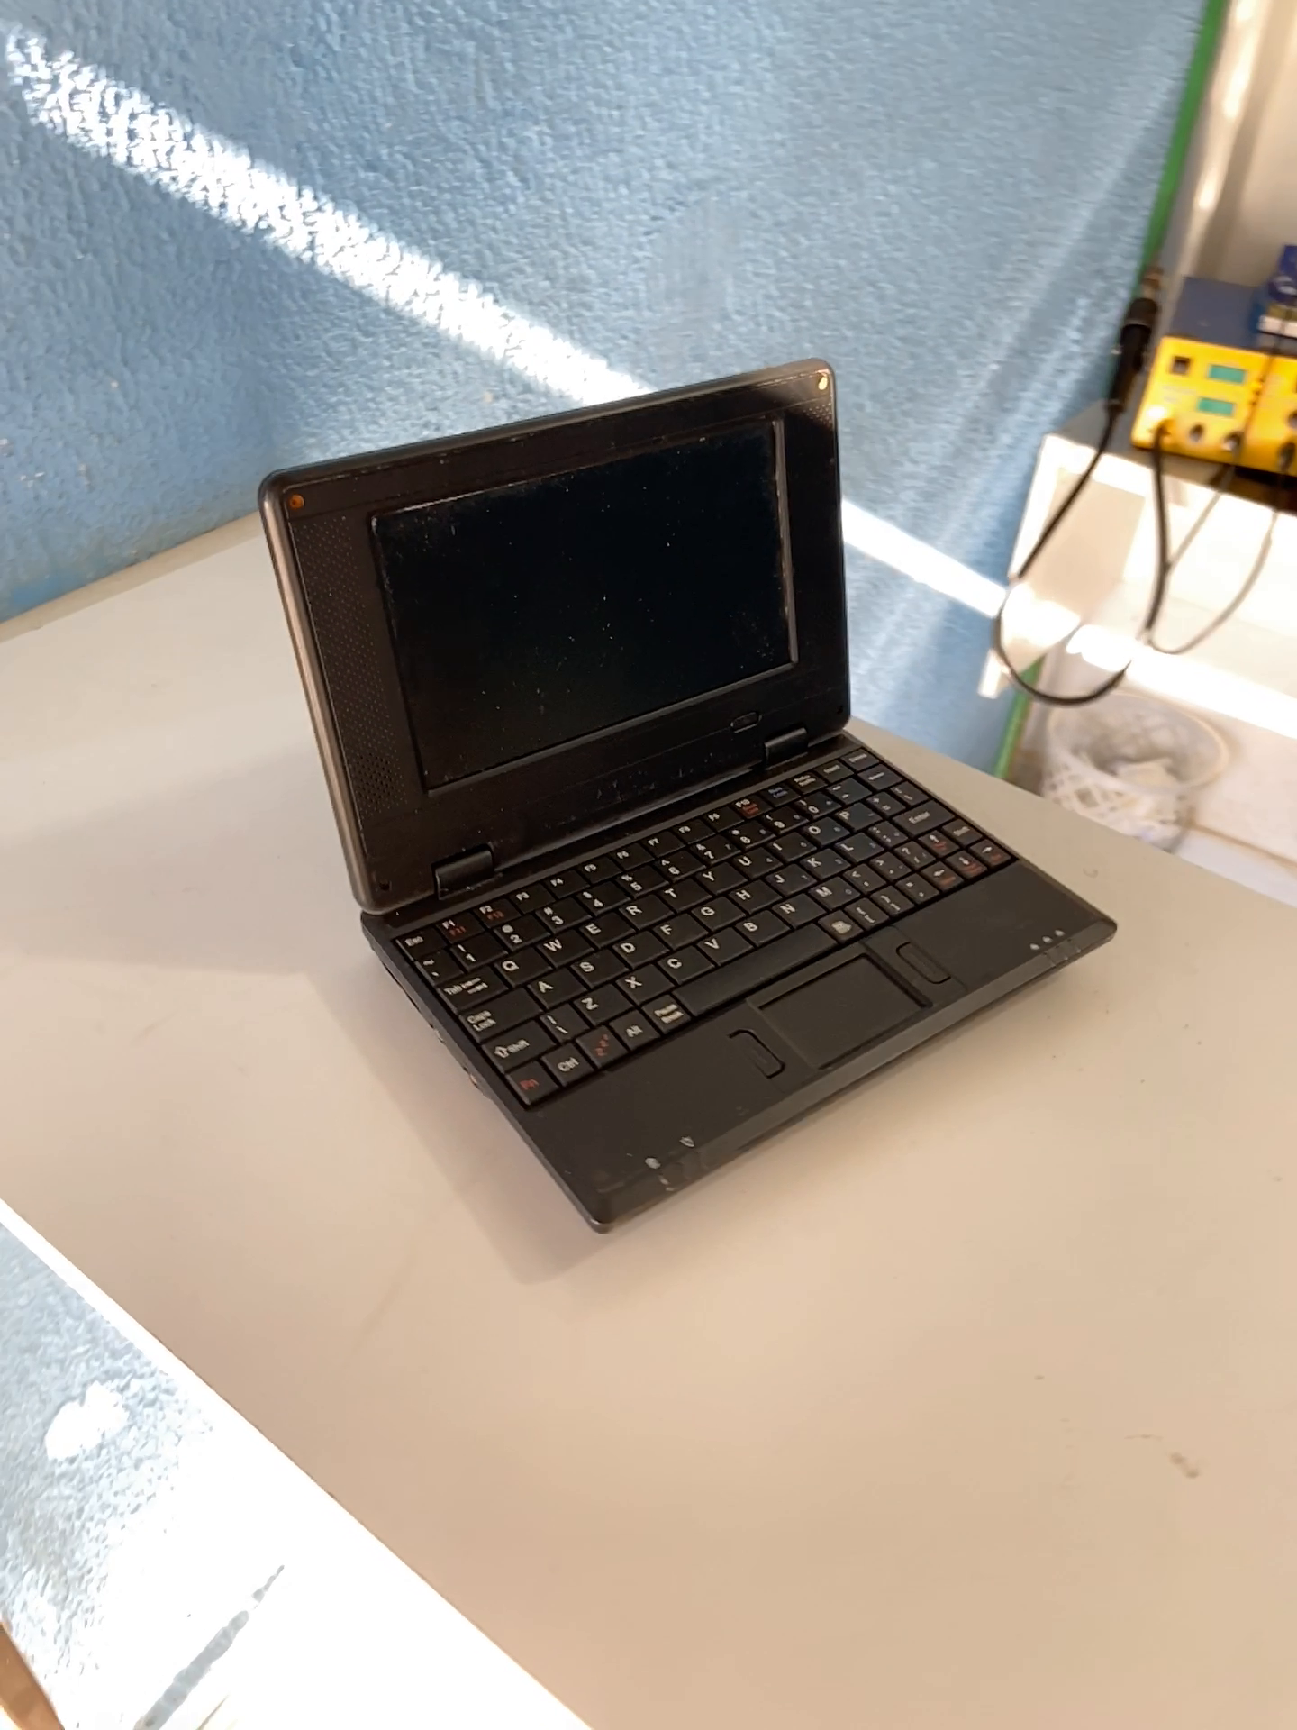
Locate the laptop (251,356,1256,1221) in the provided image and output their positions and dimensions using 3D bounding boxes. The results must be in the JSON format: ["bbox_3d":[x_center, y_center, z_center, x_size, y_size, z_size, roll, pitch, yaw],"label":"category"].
[{"bbox_3d":[0.026,-0.044,0.417,0.217,0.137,0.179,-23,47,-29],"label":"laptop"}]
